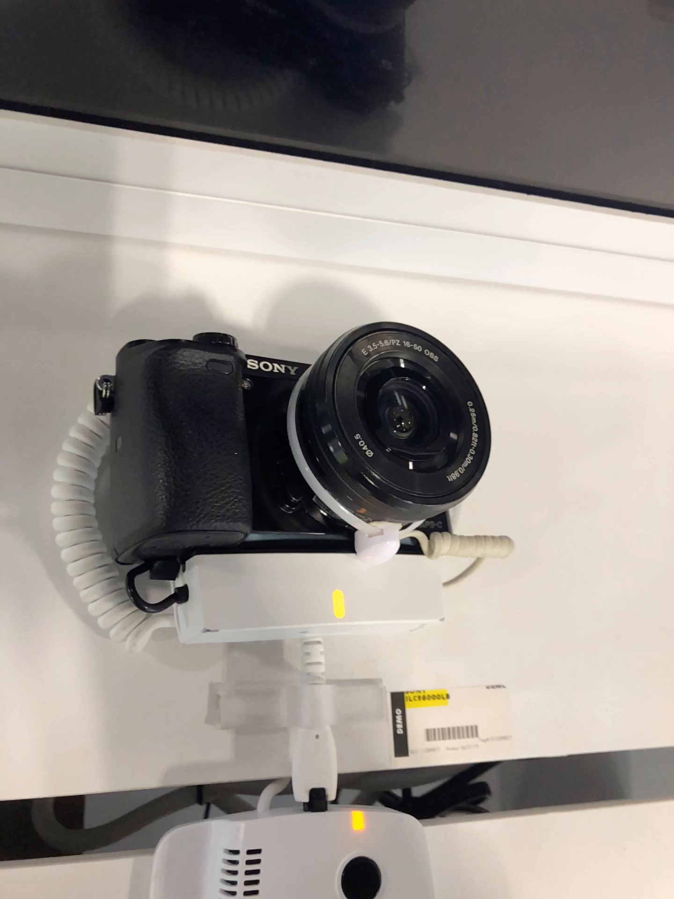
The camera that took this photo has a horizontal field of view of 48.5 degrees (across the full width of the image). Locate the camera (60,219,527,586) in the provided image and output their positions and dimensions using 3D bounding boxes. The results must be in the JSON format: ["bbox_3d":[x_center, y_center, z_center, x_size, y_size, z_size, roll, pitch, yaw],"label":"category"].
[{"bbox_3d":[-0.017,-0.005,0.250,0.130,0.070,0.090,5,69,-25],"label":"camera"}]
